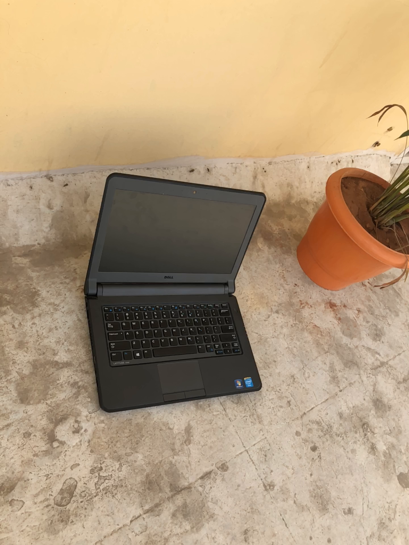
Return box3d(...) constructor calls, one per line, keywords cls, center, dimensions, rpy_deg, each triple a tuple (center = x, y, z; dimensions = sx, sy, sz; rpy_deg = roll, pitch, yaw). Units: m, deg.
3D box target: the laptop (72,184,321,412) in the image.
box3d(cls="laptop", center=(-0.034, 0.039, 0.783), dimensions=(0.309, 0.208, 0.299), rpy_deg=(1, 55, -30))
